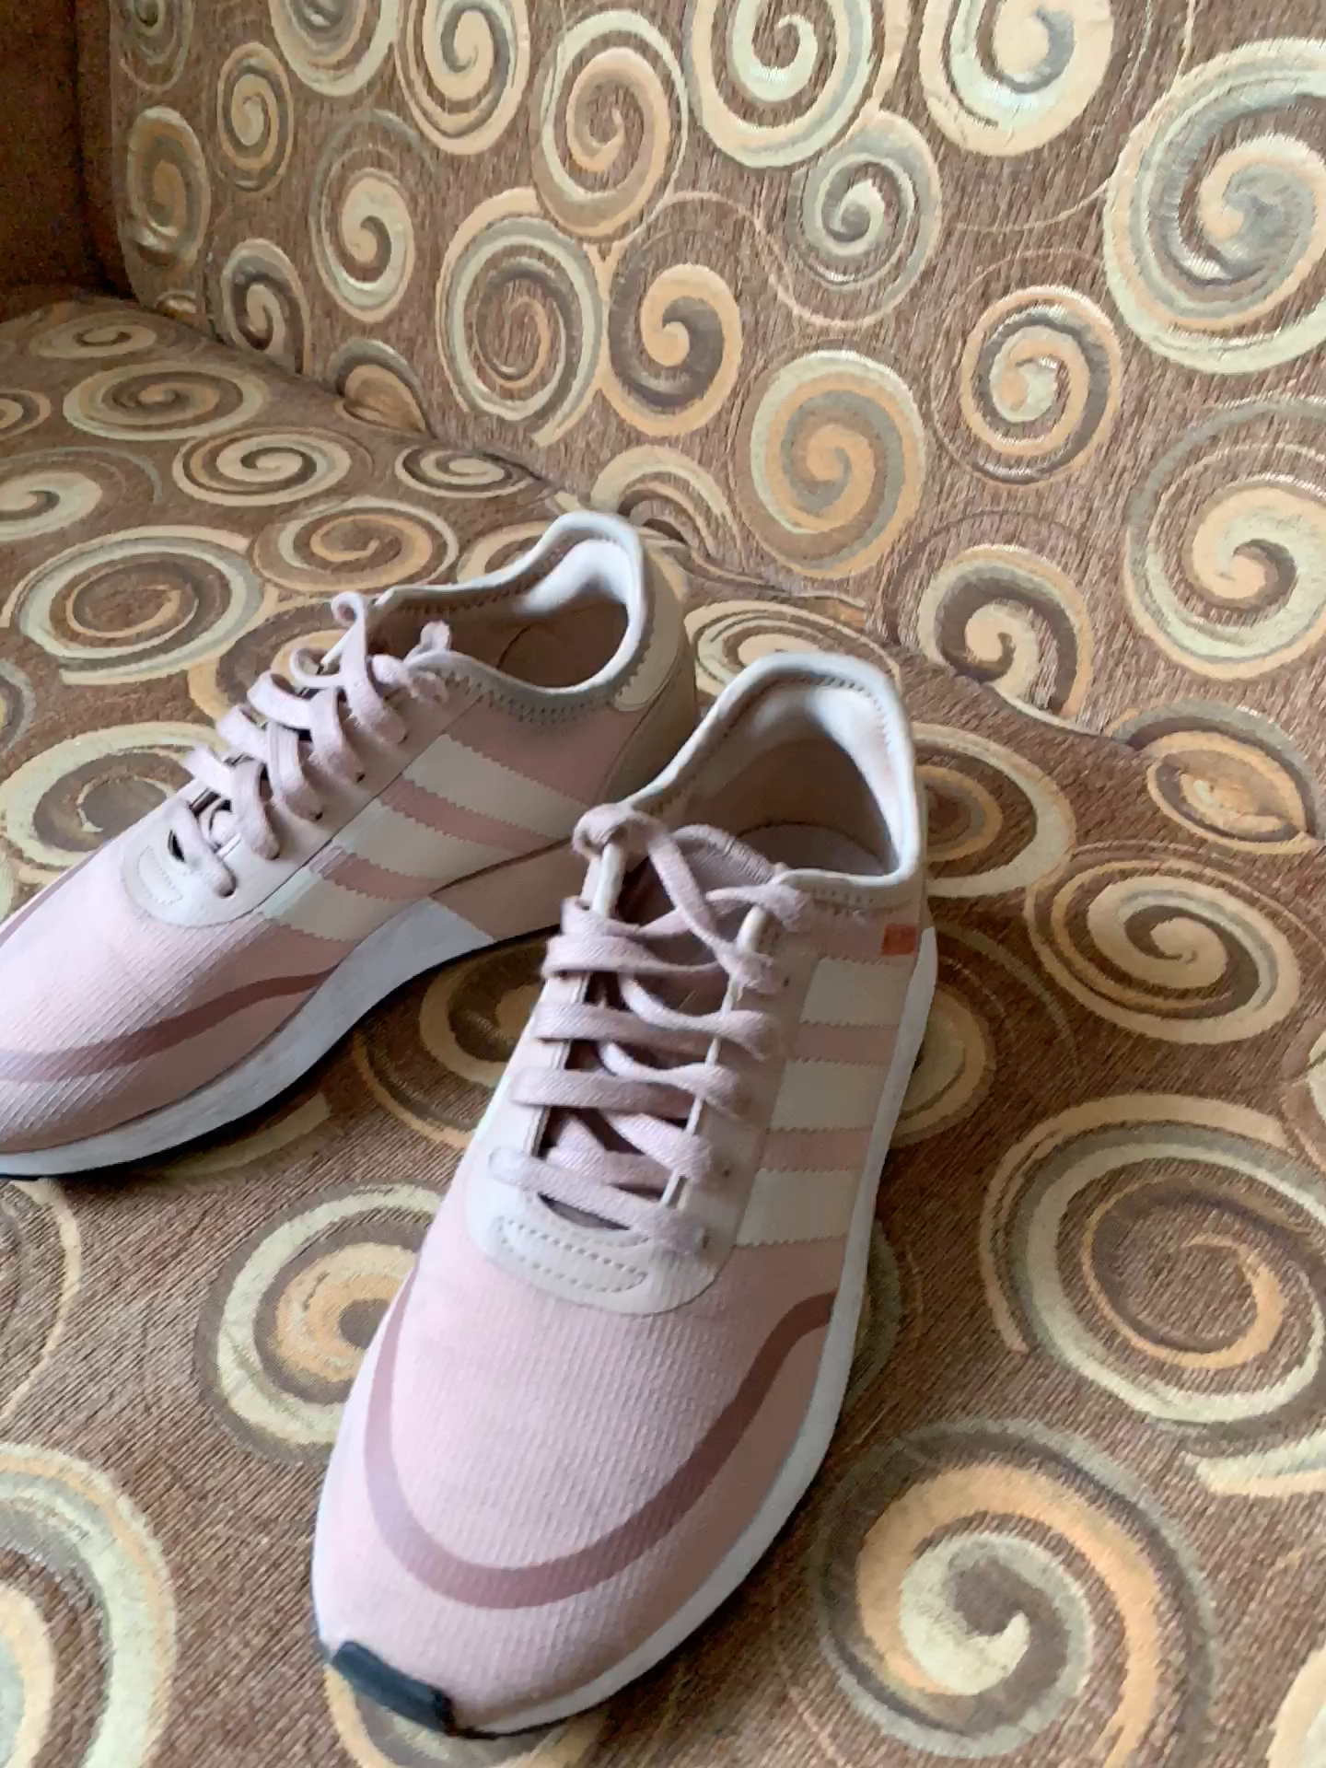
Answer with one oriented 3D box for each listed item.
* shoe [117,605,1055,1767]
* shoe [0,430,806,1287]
[{"bbox_3d":[0.008,0.054,0.311,0.100,0.090,0.251,15,50,16],"label":"shoe"},{"bbox_3d":[-0.090,-0.021,0.371,0.250,0.090,0.100,-30,53,-23],"label":"shoe"}]
